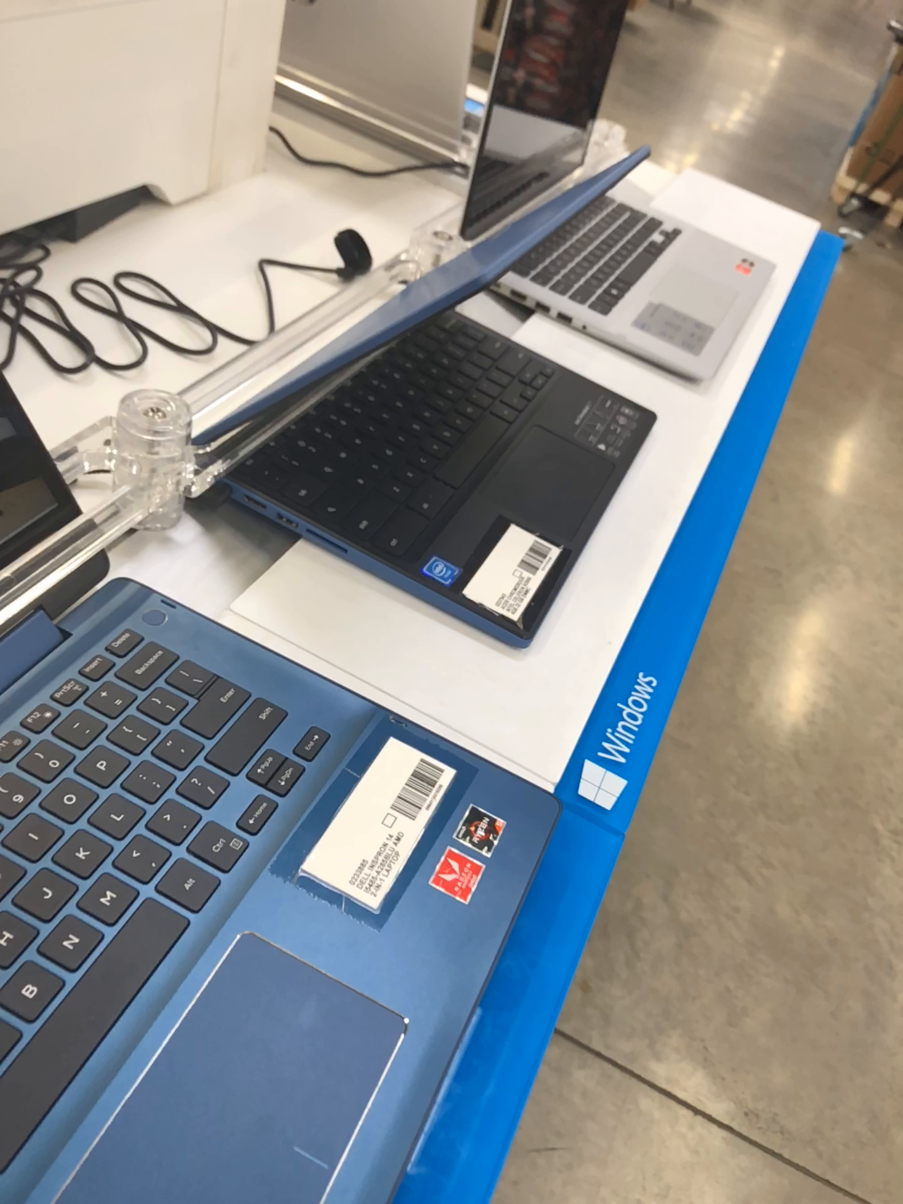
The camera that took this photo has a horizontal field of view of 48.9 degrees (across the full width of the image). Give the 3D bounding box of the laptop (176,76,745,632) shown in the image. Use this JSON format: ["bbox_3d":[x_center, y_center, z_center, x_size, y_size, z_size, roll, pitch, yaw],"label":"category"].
[{"bbox_3d":[0.020,-0.163,0.573,0.194,0.159,0.295,27,40,7],"label":"laptop"}]

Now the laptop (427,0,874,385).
[{"bbox_3d":[0.180,-0.416,0.863,0.255,0.218,0.343,29,42,7],"label":"laptop"}]

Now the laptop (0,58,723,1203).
[{"bbox_3d":[-0.155,0.027,0.275,0.367,0.169,0.306,26,40,7],"label":"laptop"}]
